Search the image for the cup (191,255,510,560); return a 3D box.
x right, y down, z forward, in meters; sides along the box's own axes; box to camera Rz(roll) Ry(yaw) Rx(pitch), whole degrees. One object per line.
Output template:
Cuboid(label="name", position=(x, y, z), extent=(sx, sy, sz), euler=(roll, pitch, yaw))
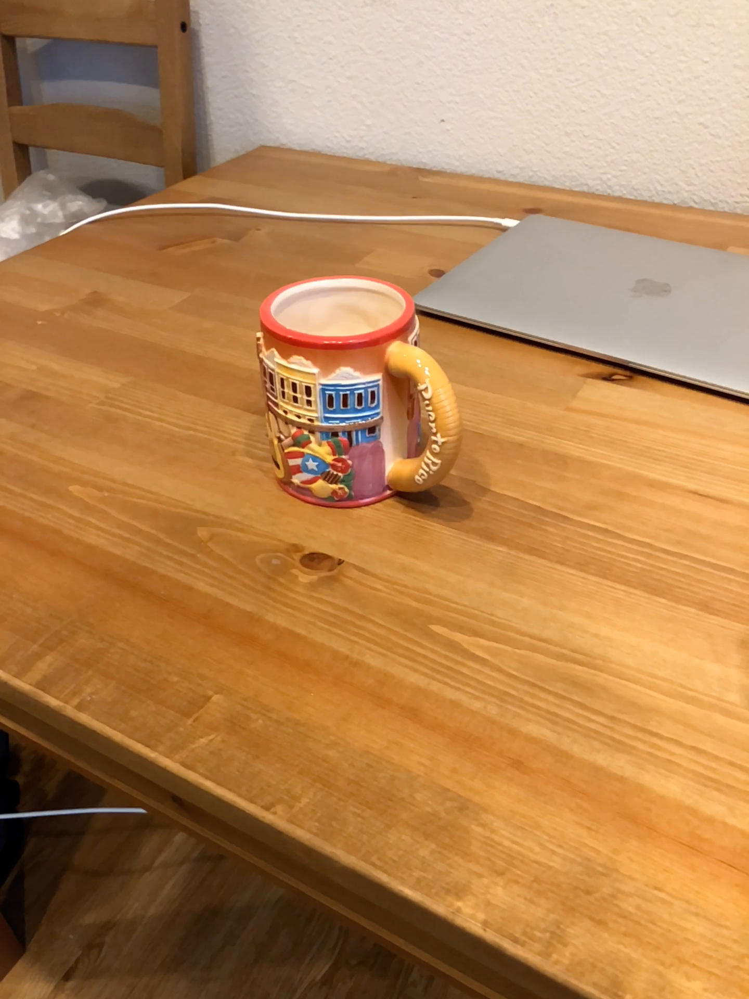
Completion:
Cuboid(label="cup", position=(-0.013, -0.054, 0.431), extent=(0.090, 0.090, 0.130), euler=(-32, 46, -33))
